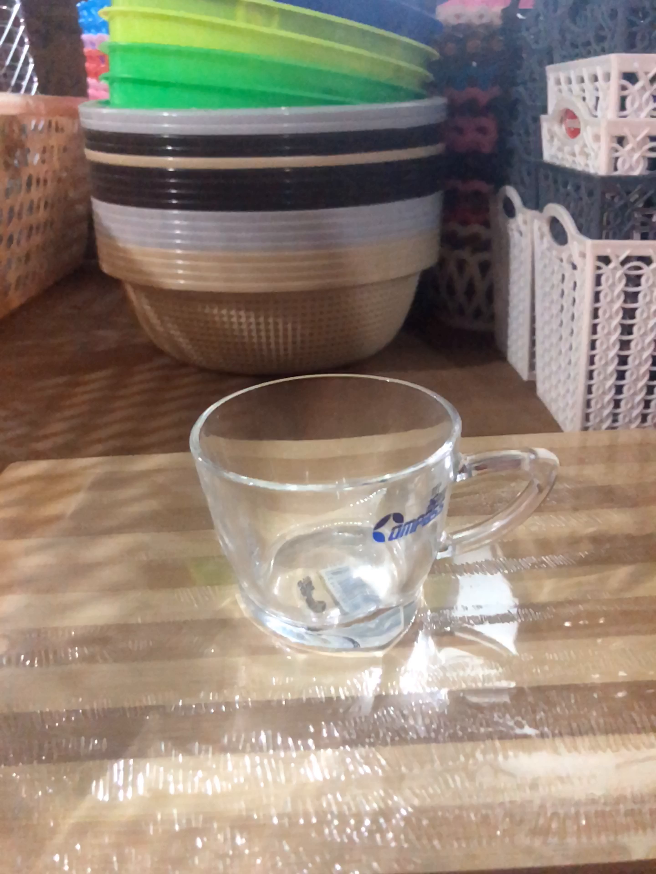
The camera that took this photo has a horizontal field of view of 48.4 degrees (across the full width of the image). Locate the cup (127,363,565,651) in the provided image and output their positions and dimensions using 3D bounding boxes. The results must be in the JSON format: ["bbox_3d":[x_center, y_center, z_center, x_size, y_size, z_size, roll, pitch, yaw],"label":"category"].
[{"bbox_3d":[0.007,0.018,0.227,0.110,0.060,0.070,-1,25,5],"label":"cup"}]
